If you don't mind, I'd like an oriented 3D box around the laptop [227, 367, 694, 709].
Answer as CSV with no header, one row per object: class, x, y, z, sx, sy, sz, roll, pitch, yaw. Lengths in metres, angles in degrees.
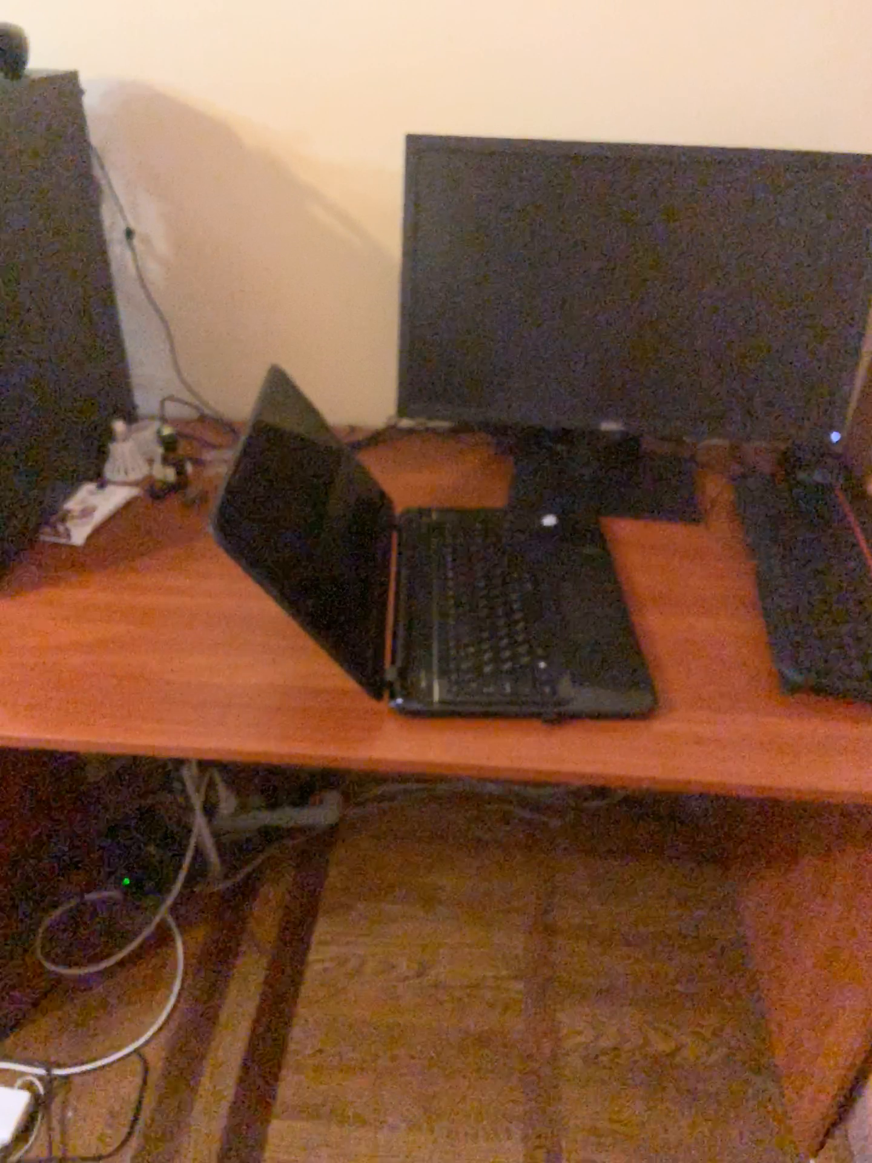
laptop,0.015,-0.064,0.907,0.368,0.181,0.368,0,33,1
